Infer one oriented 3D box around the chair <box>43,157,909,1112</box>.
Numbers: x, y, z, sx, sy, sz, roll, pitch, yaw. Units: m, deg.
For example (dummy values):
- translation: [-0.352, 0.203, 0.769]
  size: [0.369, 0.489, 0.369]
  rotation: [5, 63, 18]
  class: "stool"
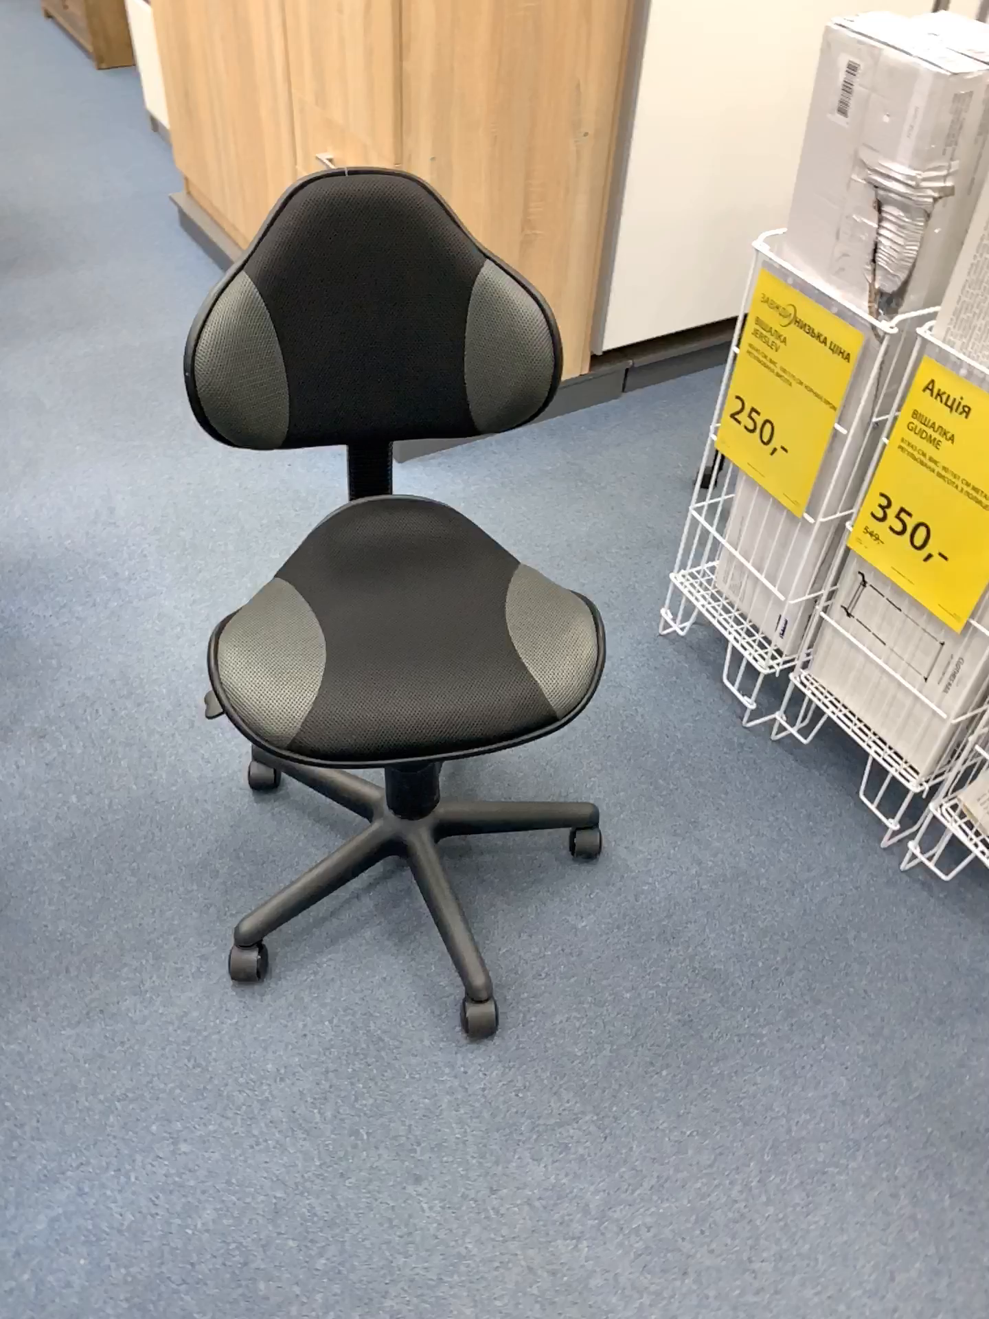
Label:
- translation: [-0.090, -0.021, 1.274]
  size: [0.630, 0.916, 0.693]
  rotation: [-7, 46, -12]
  class: "chair"
